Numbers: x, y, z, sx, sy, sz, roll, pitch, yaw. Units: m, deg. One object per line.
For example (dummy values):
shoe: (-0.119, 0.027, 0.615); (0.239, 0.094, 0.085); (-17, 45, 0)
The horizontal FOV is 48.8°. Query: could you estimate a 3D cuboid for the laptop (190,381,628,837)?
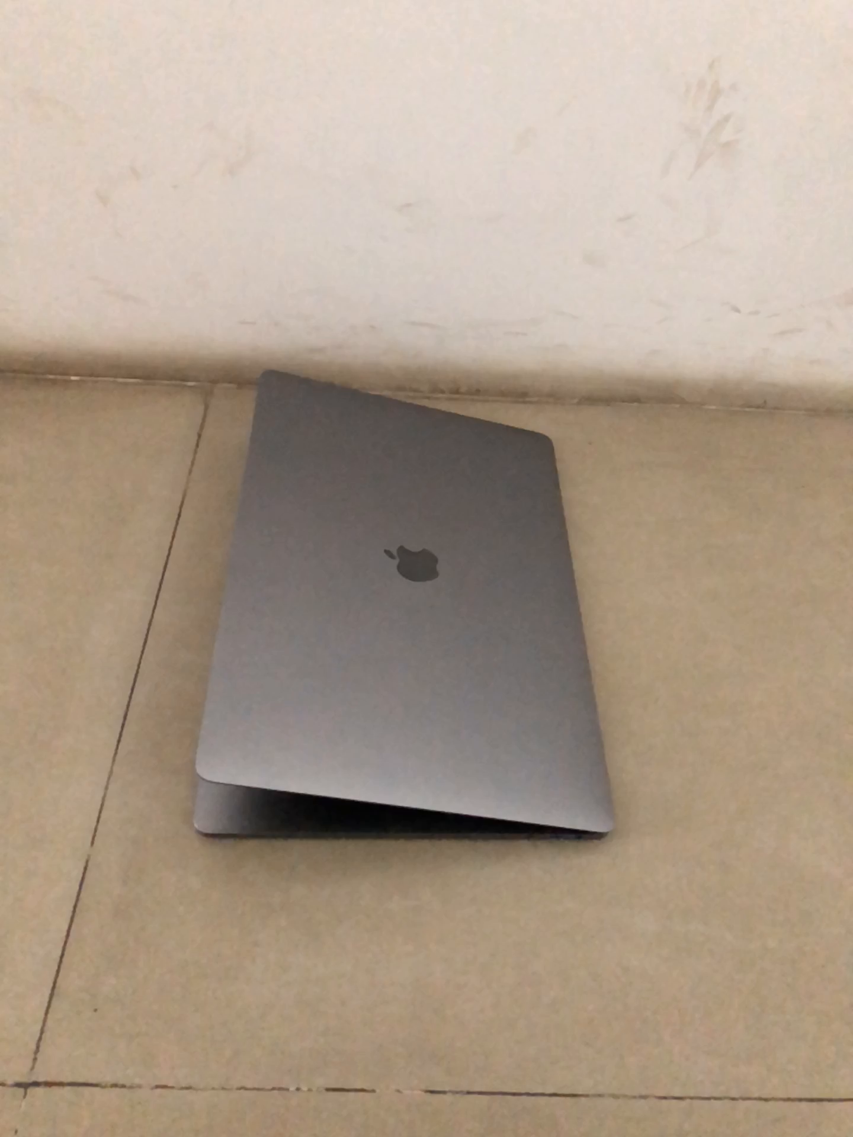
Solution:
laptop: (-0.010, 0.006, 0.629); (0.232, 0.057, 0.337); (2, 48, -2)
